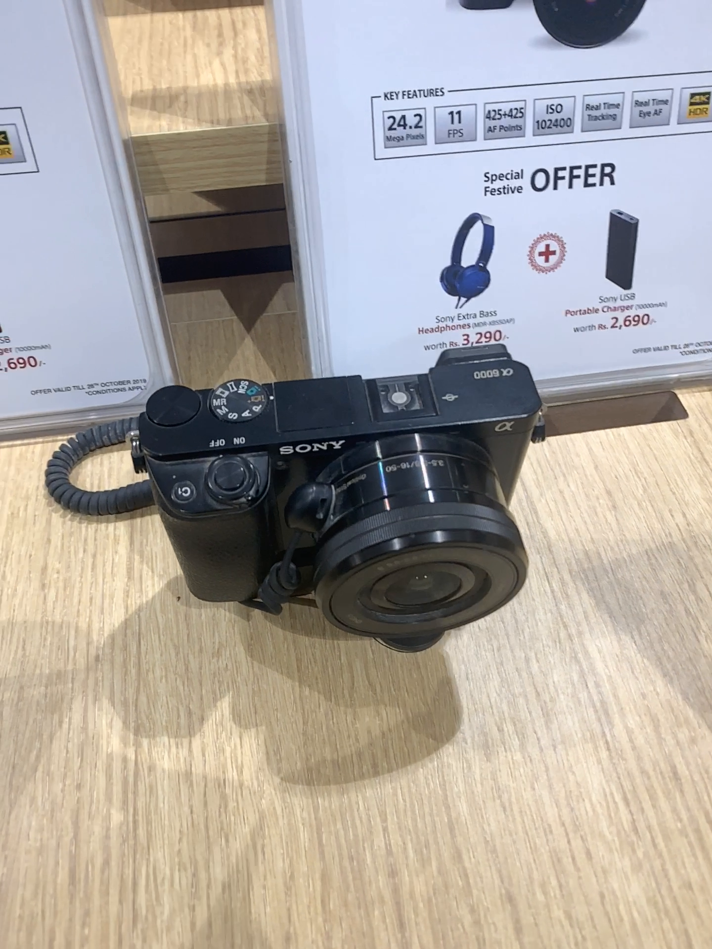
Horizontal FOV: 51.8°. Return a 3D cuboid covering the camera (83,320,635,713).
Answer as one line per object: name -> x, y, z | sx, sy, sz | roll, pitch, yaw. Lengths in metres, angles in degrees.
camera -> -0.002, 0.012, 0.207 | 0.120, 0.070, 0.070 | -7, 53, -5
